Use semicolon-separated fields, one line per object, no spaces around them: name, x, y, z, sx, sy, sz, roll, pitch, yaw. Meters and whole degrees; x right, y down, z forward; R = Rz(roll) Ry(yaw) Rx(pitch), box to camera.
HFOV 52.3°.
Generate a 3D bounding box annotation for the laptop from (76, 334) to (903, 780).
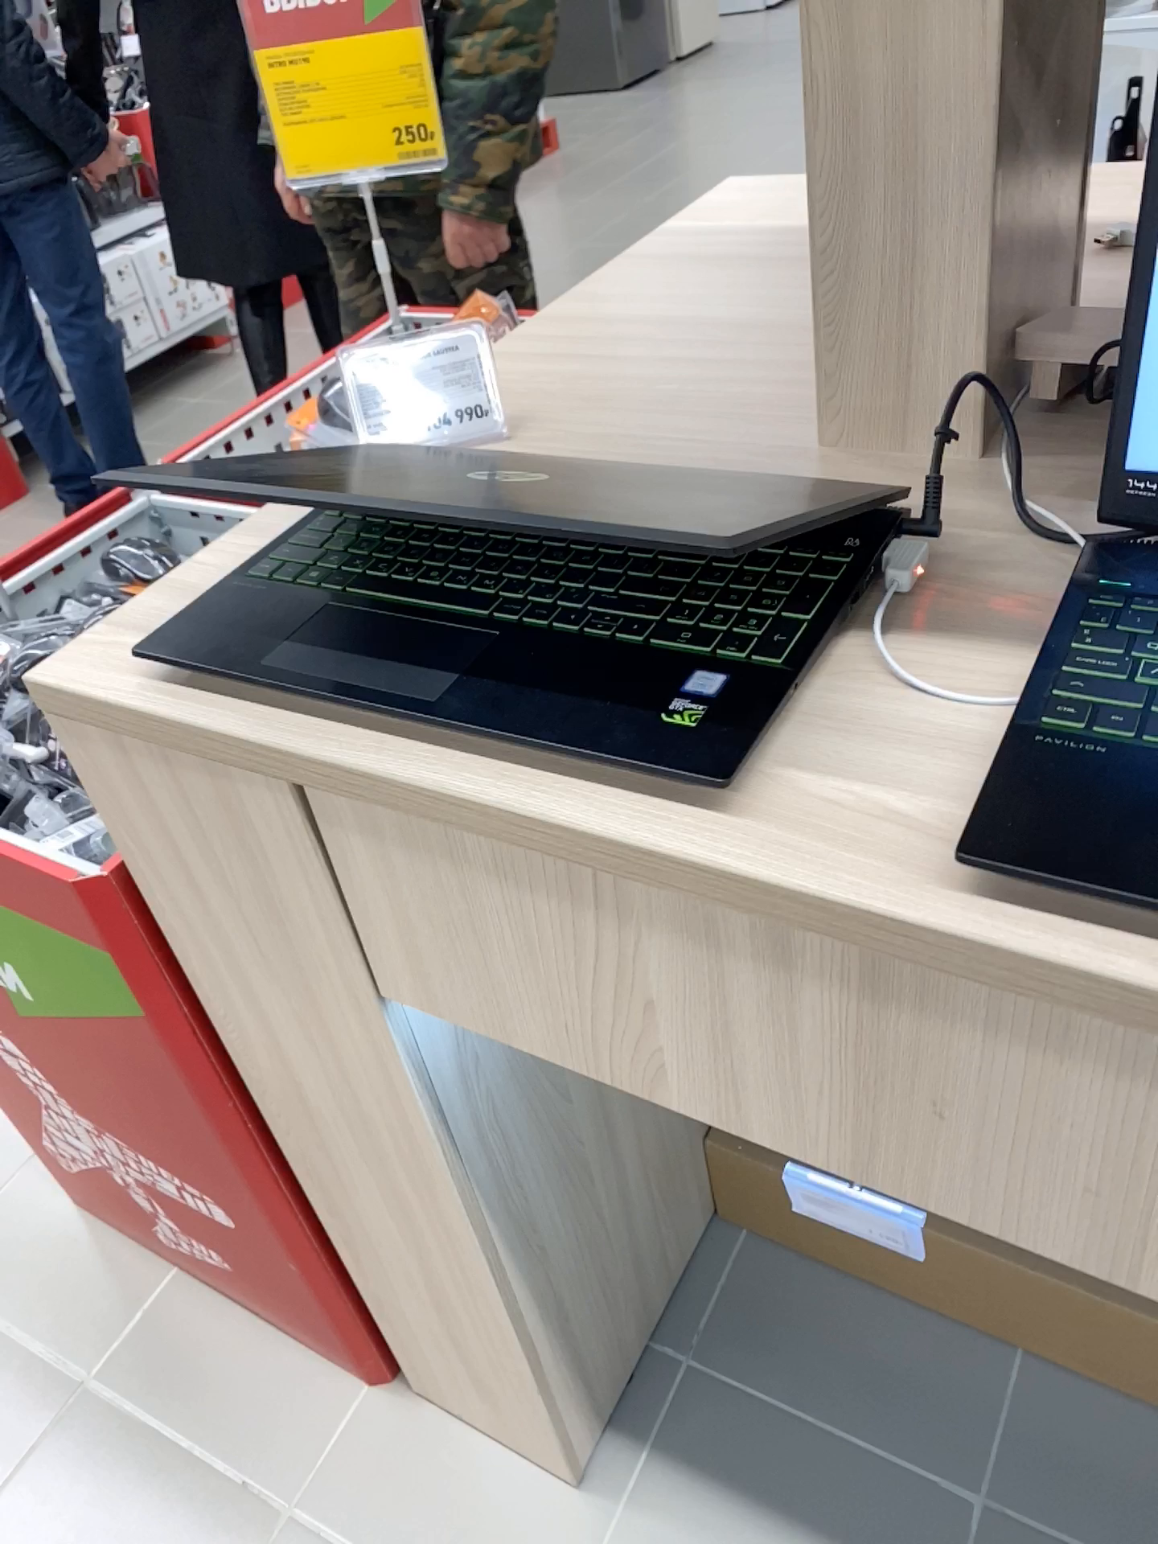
laptop;-0.044;-0.142;0.636;0.367;0.086;0.241;13;45;29
